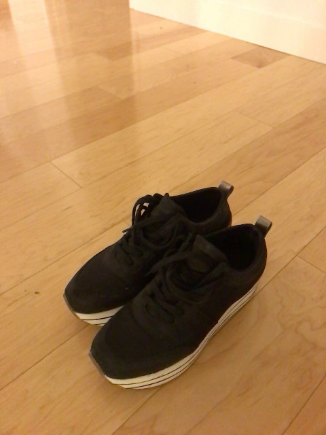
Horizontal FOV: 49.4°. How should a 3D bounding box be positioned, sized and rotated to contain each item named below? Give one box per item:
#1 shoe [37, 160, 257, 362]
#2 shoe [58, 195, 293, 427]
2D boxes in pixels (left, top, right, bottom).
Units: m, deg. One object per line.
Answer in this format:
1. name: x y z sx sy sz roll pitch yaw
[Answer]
1. shoe: -0.009 0.043 0.514 0.291 0.109 0.120 -33 52 -31
2. shoe: 0.030 0.099 0.469 0.291 0.099 0.120 -33 52 -31
